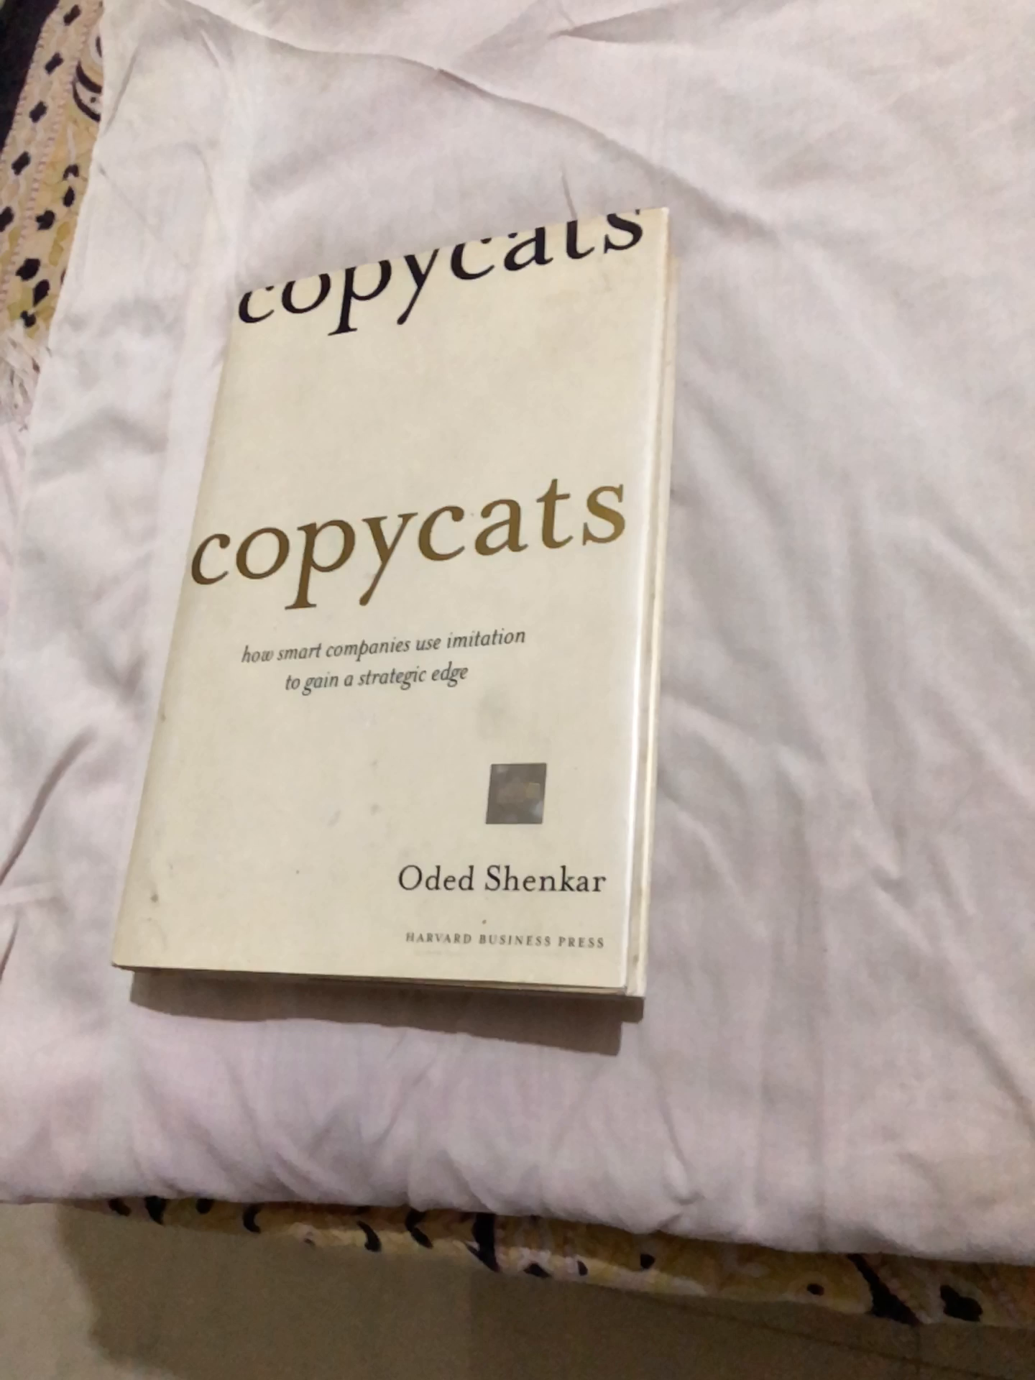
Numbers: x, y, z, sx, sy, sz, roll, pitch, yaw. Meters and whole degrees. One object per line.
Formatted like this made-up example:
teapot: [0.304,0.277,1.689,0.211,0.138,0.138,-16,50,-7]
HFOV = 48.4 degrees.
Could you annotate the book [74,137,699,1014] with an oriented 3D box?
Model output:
book: [-0.031,-0.033,0.328,0.150,0.040,0.230,-3,70,24]
